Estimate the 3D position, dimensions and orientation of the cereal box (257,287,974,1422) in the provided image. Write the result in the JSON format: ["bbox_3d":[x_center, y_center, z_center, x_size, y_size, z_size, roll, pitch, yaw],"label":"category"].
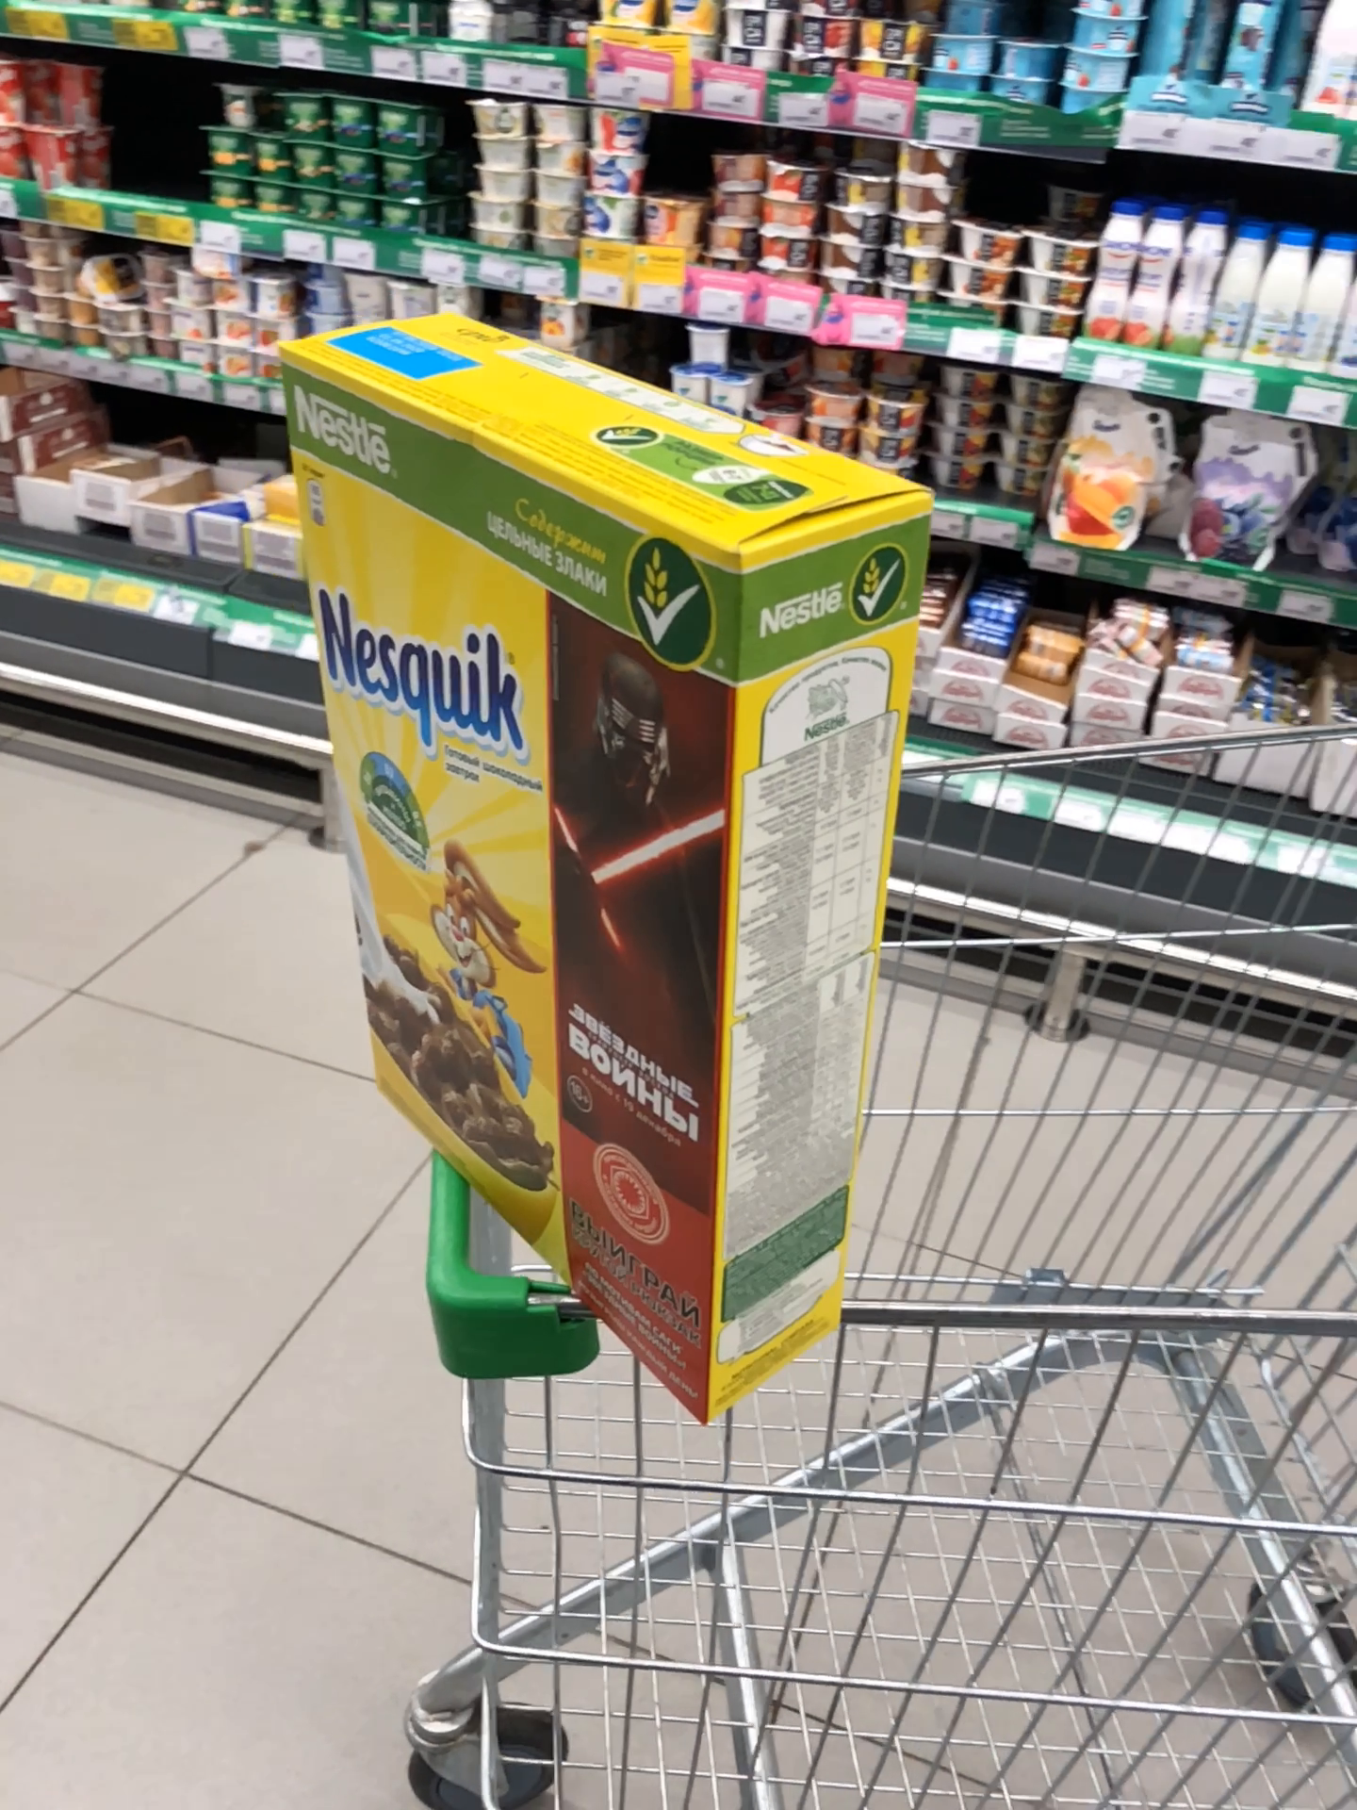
[{"bbox_3d":[-0.029,-0.018,0.442,0.070,0.268,0.201,-24,41,-32],"label":"cereal box"}]
